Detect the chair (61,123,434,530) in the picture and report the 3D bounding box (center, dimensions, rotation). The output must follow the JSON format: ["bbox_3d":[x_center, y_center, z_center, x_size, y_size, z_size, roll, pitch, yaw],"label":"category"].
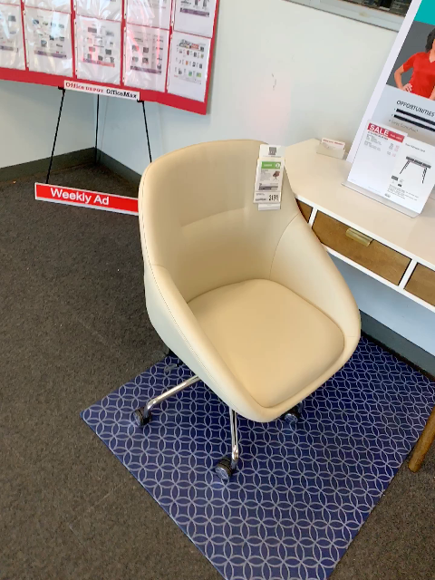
[{"bbox_3d":[0.055,0.042,1.312,0.692,0.736,0.672,36,45,28],"label":"chair"}]
